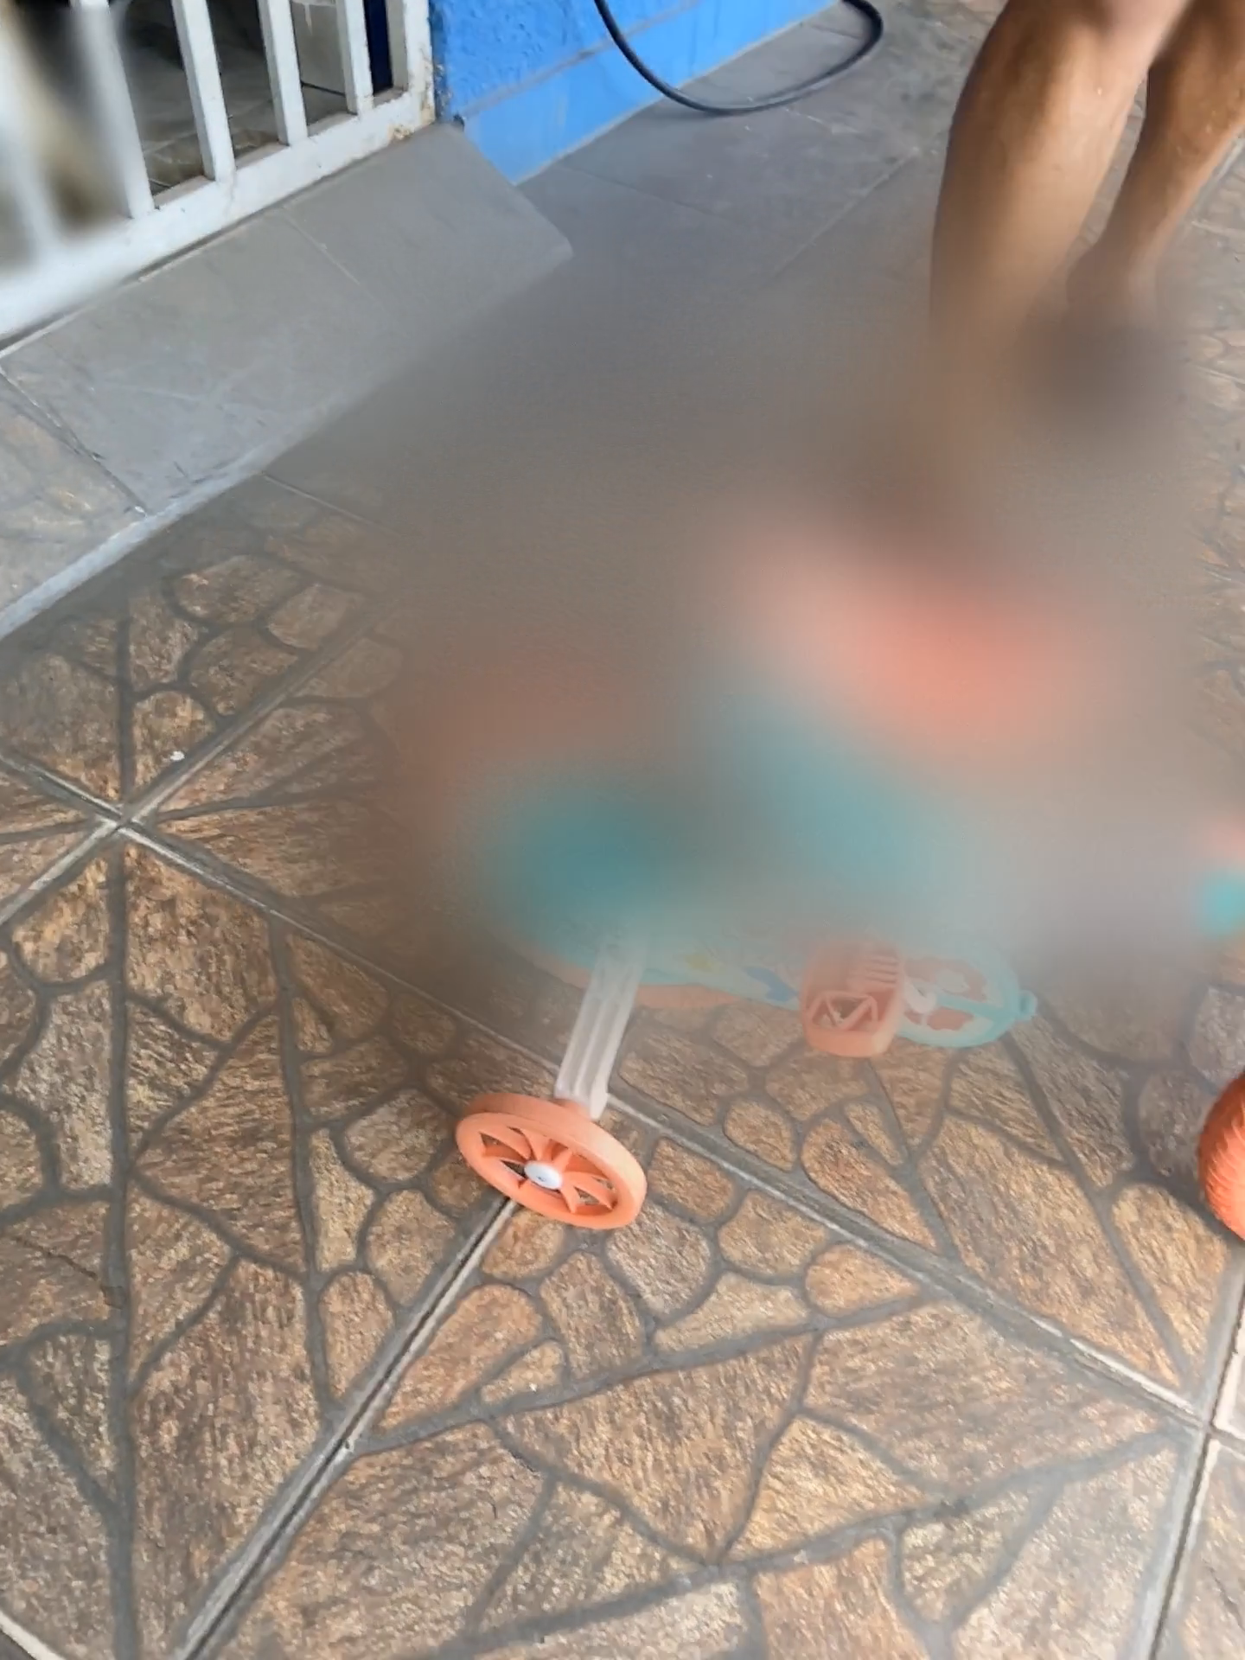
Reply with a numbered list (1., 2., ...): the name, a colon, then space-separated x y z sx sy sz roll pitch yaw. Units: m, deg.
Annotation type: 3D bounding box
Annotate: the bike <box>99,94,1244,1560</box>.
1. bike: 0.272 -0.022 0.756 0.806 0.534 0.501 13 48 10
